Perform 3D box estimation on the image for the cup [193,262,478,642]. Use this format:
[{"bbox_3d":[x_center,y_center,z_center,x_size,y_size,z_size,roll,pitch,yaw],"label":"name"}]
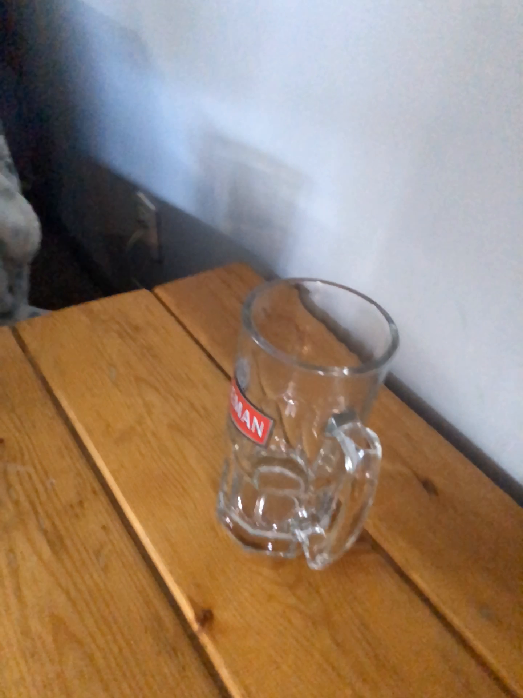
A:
[{"bbox_3d":[0.028,0.072,0.420,0.110,0.209,0.161,-7,42,-19],"label":"cup"}]
